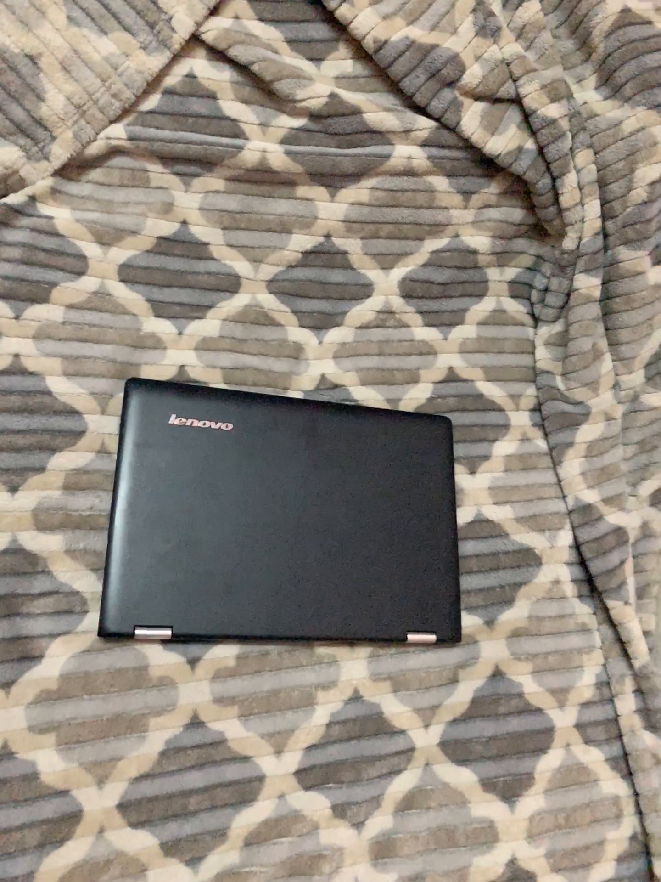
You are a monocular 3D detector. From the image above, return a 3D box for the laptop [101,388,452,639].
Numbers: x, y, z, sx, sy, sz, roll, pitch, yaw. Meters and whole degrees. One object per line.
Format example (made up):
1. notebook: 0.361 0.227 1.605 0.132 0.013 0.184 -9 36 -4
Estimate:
1. laptop: -0.035 0.075 0.667 0.339 0.003 0.228 6 73 -17
